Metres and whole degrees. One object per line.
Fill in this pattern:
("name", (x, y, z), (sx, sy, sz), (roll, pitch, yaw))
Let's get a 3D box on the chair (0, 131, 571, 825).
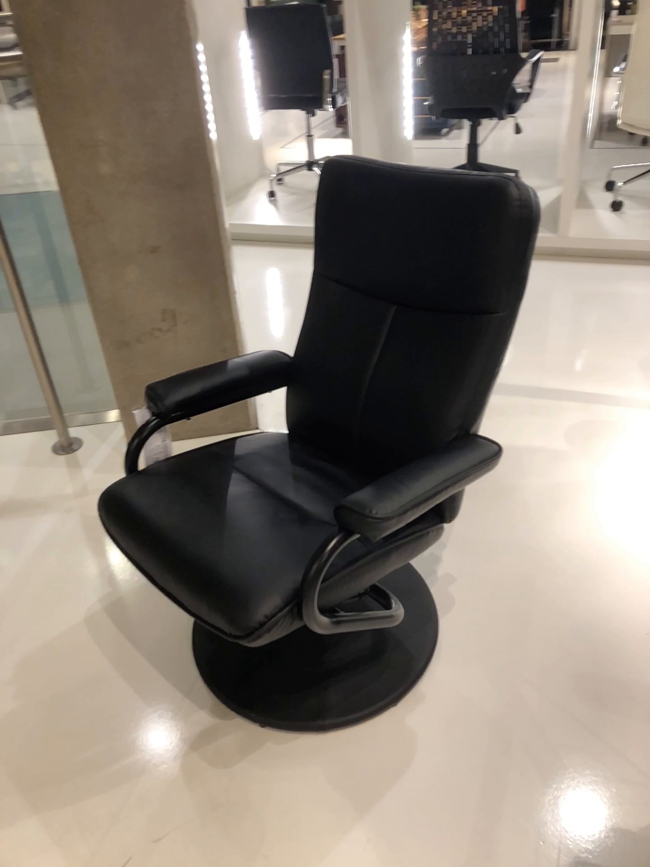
("chair", (-0.058, 0.021, 1.445), (0.733, 0.992, 0.693), (-32, 42, -33))
